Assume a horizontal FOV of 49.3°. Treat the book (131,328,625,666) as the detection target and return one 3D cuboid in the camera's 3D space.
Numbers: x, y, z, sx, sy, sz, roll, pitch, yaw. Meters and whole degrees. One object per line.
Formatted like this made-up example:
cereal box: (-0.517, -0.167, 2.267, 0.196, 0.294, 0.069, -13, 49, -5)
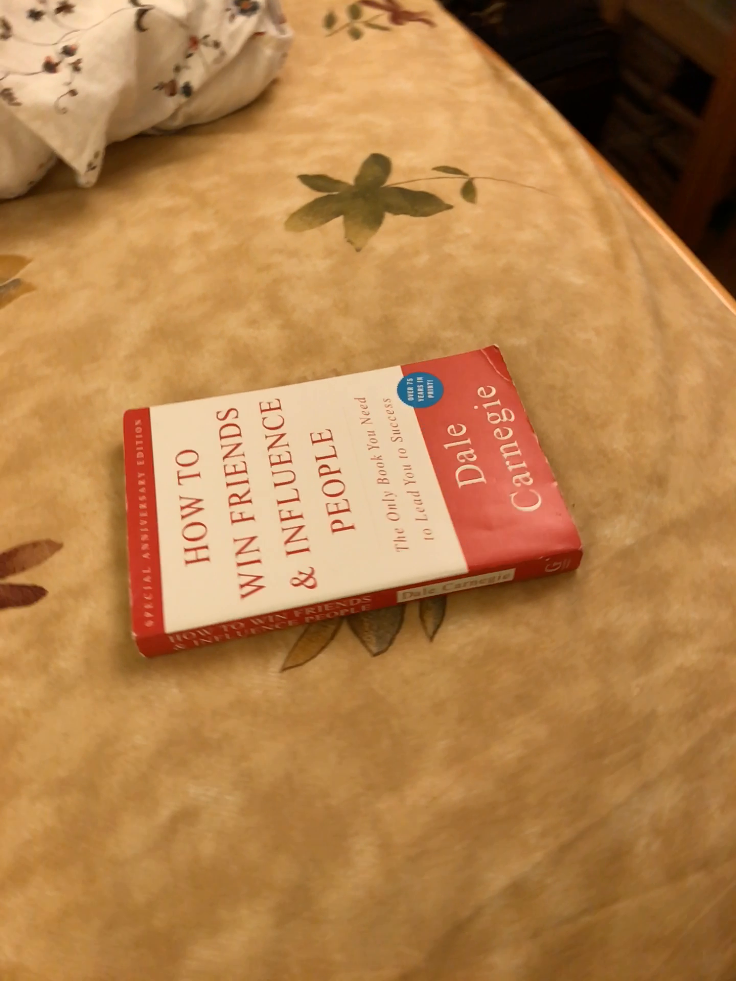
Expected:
book: (-0.004, -0.007, 0.409, 0.220, 0.020, 0.151, -10, 56, -7)
